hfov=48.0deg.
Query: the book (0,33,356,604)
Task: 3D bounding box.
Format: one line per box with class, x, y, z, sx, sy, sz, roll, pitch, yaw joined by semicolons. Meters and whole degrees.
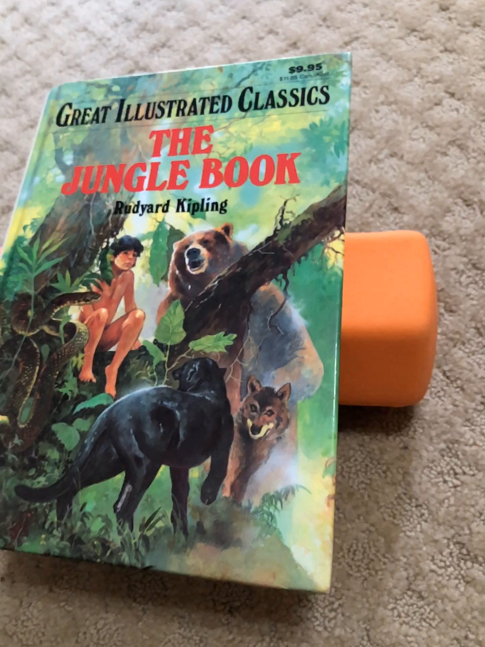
book;-0.030;-0.016;0.215;0.140;0.029;0.208;1;70;14
